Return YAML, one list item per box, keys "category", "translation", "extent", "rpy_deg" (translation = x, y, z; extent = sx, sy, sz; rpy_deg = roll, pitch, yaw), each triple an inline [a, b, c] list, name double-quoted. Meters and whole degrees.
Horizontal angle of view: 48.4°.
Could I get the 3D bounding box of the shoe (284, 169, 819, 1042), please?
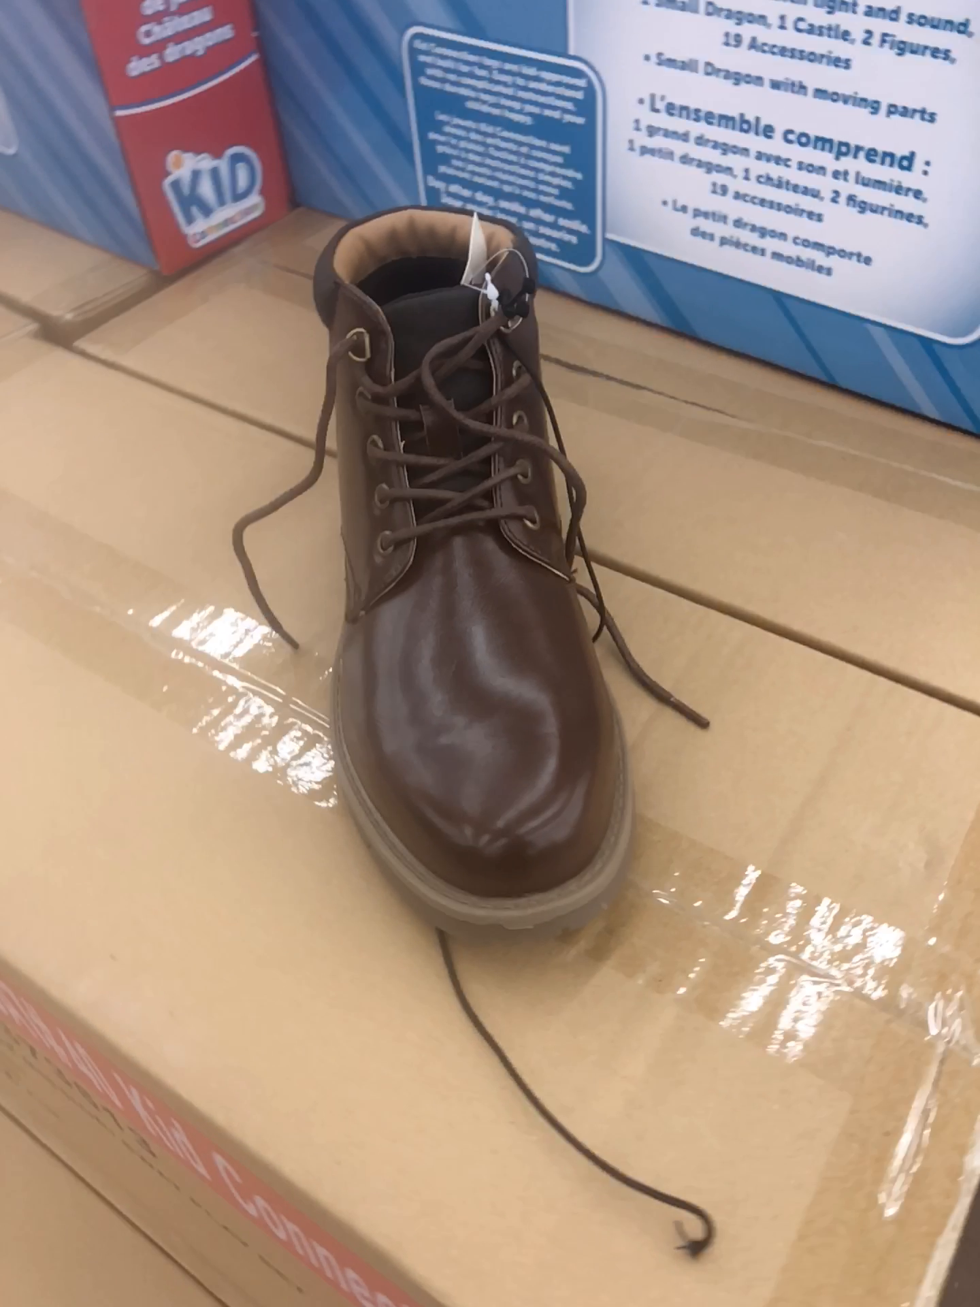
- category: "shoe"
  translation: [-0.001, -0.038, 0.409]
  extent: [0.120, 0.159, 0.291]
  rpy_deg: [-8, 45, -4]
